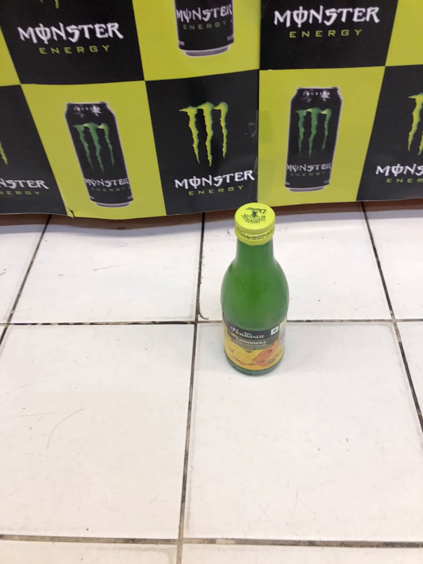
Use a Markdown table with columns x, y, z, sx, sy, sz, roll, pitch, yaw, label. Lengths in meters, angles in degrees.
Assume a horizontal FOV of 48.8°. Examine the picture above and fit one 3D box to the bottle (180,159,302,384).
| x | y | z | sx | sy | sz | roll | pitch | yaw | label |
| --- | --- | --- | --- | --- | --- | --- | --- | --- | --- |
| 0.027 | 0.001 | 0.375 | 0.070 | 0.179 | 0.070 | -2 | 48 | 2 | bottle |
